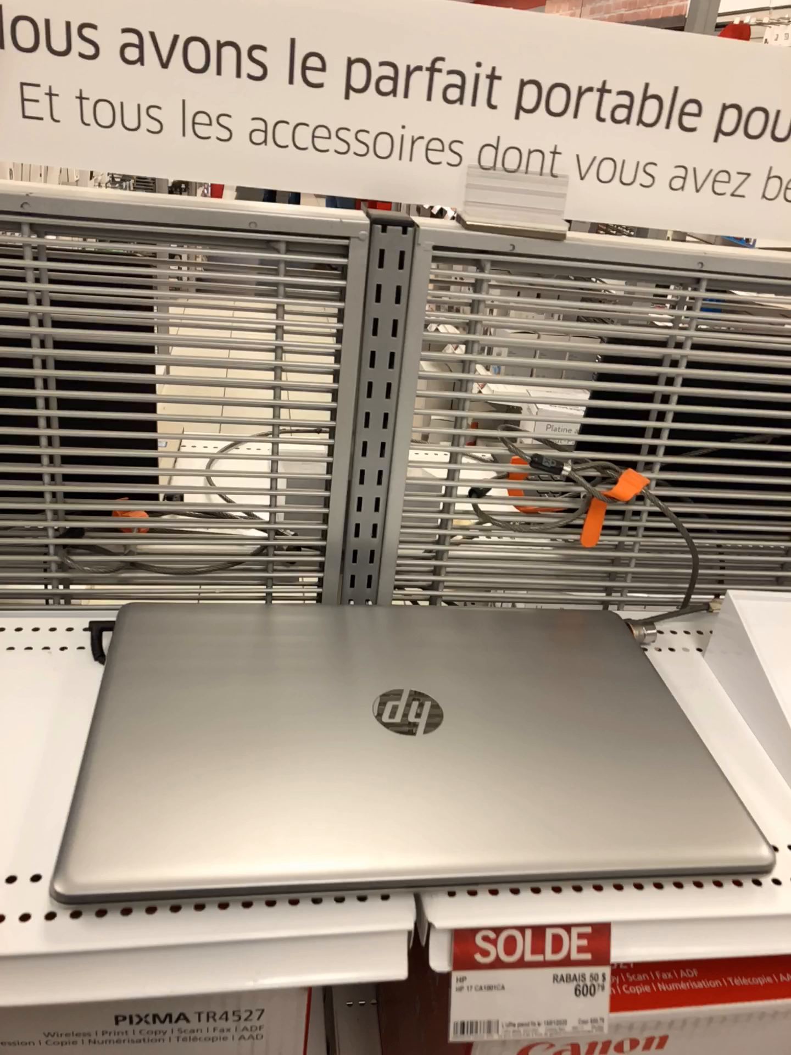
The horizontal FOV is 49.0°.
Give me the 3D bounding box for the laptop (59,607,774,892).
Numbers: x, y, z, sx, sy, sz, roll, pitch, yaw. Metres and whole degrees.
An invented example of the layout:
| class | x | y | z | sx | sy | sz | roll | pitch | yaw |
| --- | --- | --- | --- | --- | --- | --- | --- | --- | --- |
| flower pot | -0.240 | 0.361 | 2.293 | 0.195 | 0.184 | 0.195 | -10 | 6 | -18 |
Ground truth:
| class | x | y | z | sx | sy | sz | roll | pitch | yaw |
| --- | --- | --- | --- | --- | --- | --- | --- | --- | --- |
| laptop | 0.006 | 0.135 | 0.617 | 0.416 | 0.002 | 0.278 | 1 | 27 | -9 |
